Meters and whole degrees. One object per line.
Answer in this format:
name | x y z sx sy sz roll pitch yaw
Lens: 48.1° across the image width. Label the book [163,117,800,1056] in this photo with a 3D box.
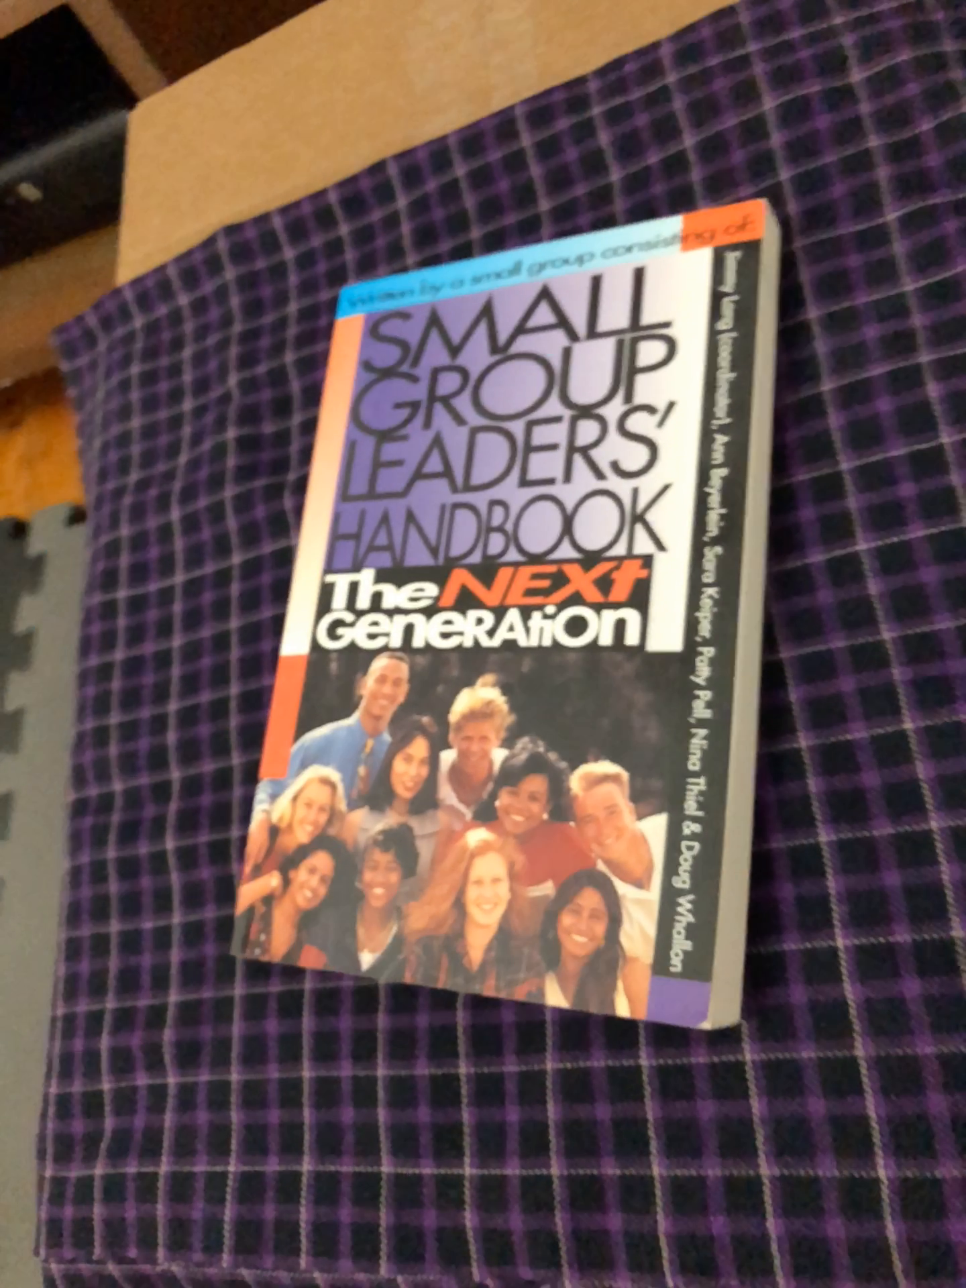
book | 0.001 -0.019 0.289 0.150 0.030 0.220 -2 73 28
